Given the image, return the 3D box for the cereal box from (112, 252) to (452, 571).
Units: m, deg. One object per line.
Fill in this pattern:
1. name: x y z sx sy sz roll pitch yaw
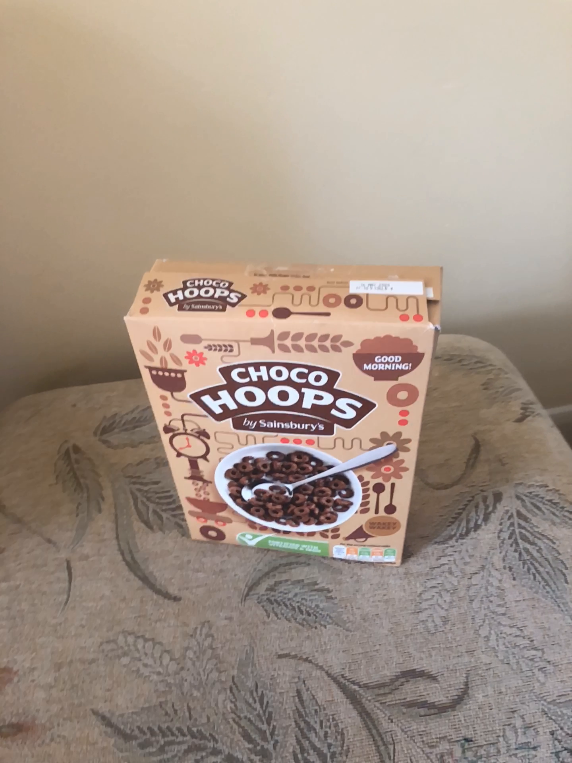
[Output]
1. cereal box: 0.005 0.035 0.504 0.210 0.258 0.081 4 44 8
